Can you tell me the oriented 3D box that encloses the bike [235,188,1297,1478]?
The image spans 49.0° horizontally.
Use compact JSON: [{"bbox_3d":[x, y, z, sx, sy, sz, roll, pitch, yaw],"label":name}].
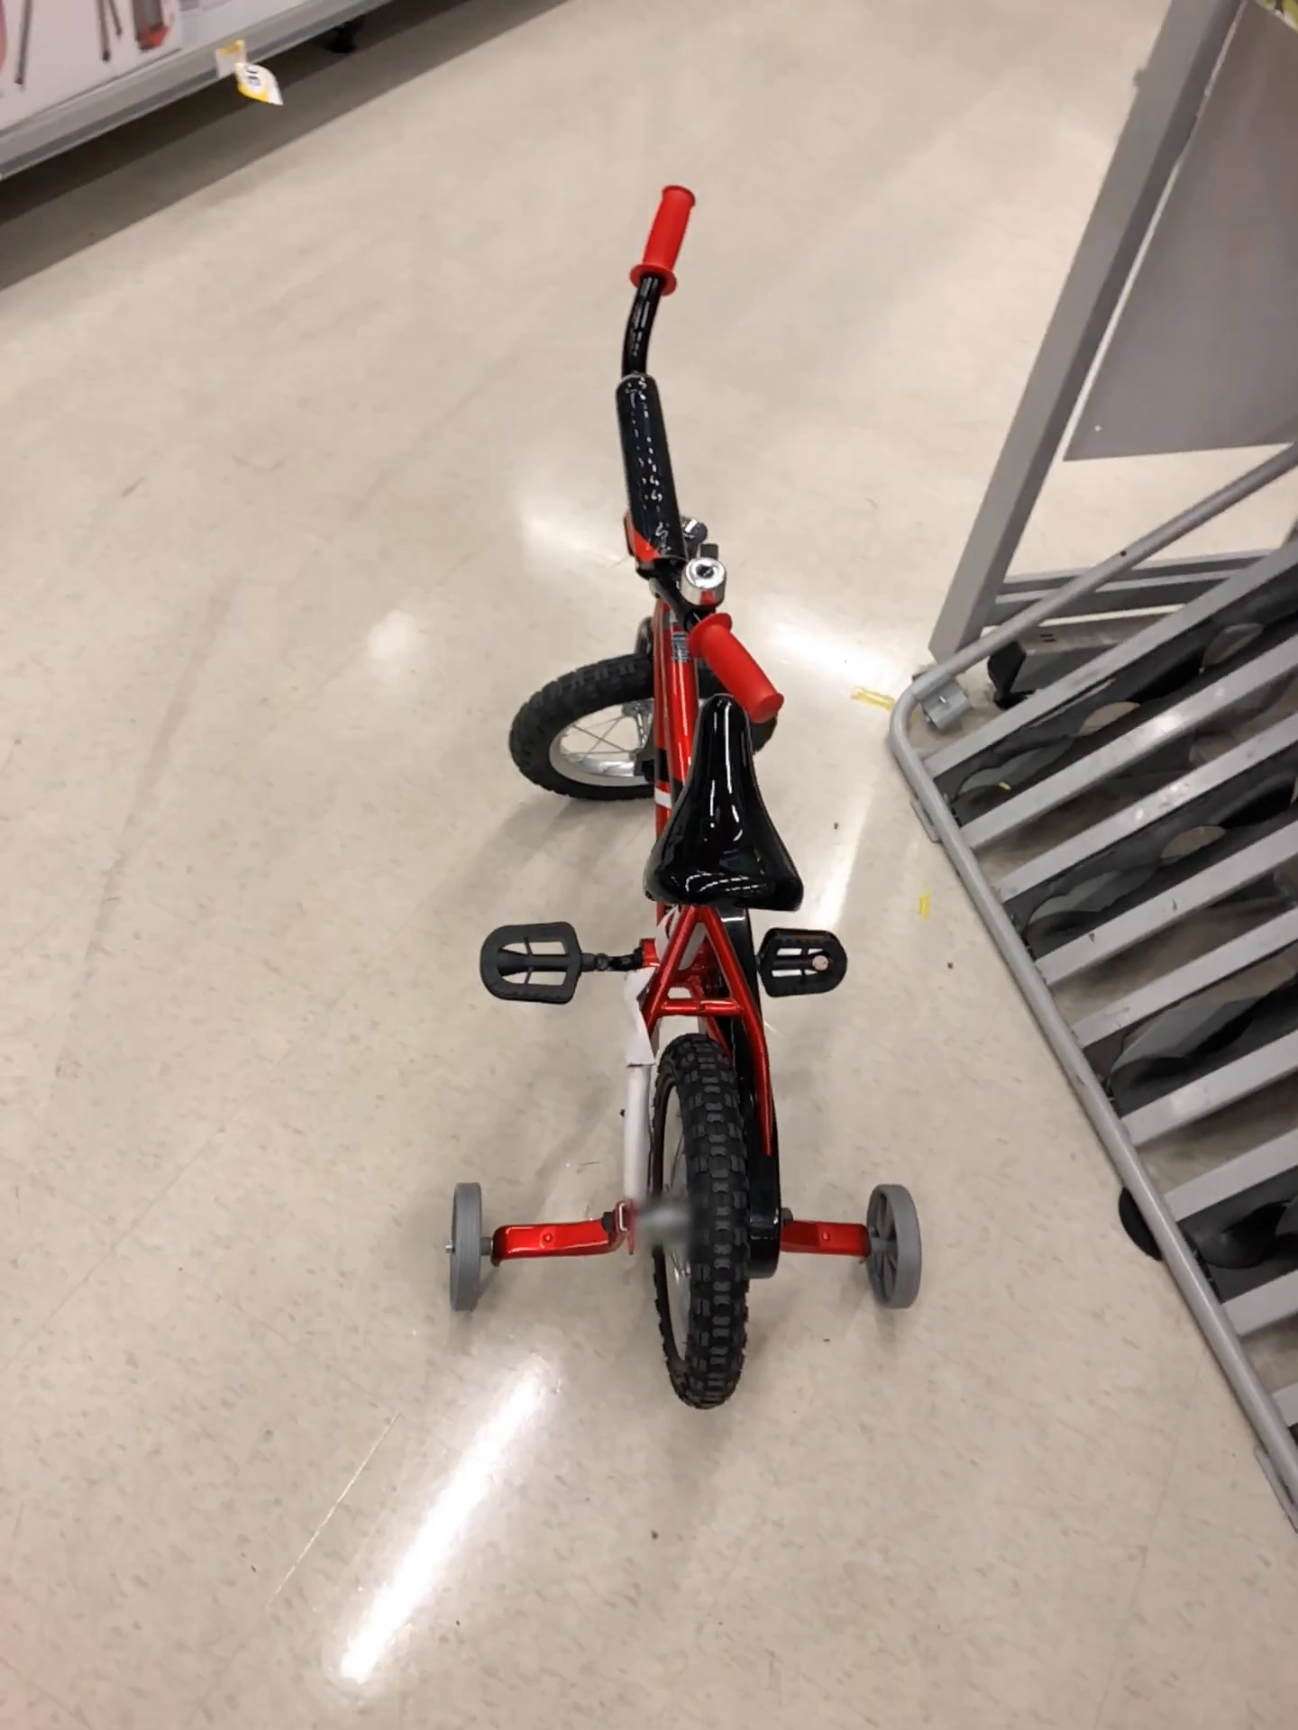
[{"bbox_3d":[0.005,-0.021,1.141,0.531,0.678,0.702,-6,52,-15],"label":"bike"}]
